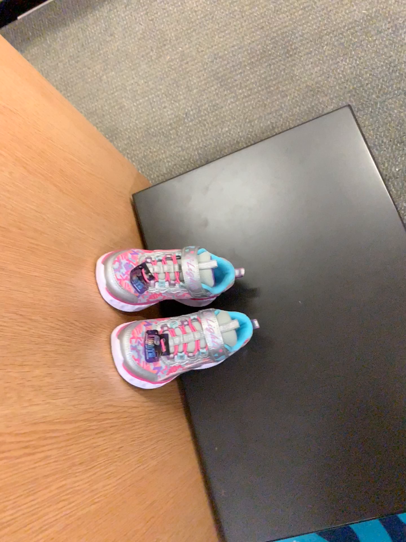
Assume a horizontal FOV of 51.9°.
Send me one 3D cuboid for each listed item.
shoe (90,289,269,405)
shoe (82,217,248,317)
[{"bbox_3d":[-0.028,0.091,0.519,0.100,0.179,0.090,-38,63,48],"label":"shoe"},{"bbox_3d":[-0.050,-0.003,0.554,0.100,0.179,0.090,-34,64,49],"label":"shoe"}]
